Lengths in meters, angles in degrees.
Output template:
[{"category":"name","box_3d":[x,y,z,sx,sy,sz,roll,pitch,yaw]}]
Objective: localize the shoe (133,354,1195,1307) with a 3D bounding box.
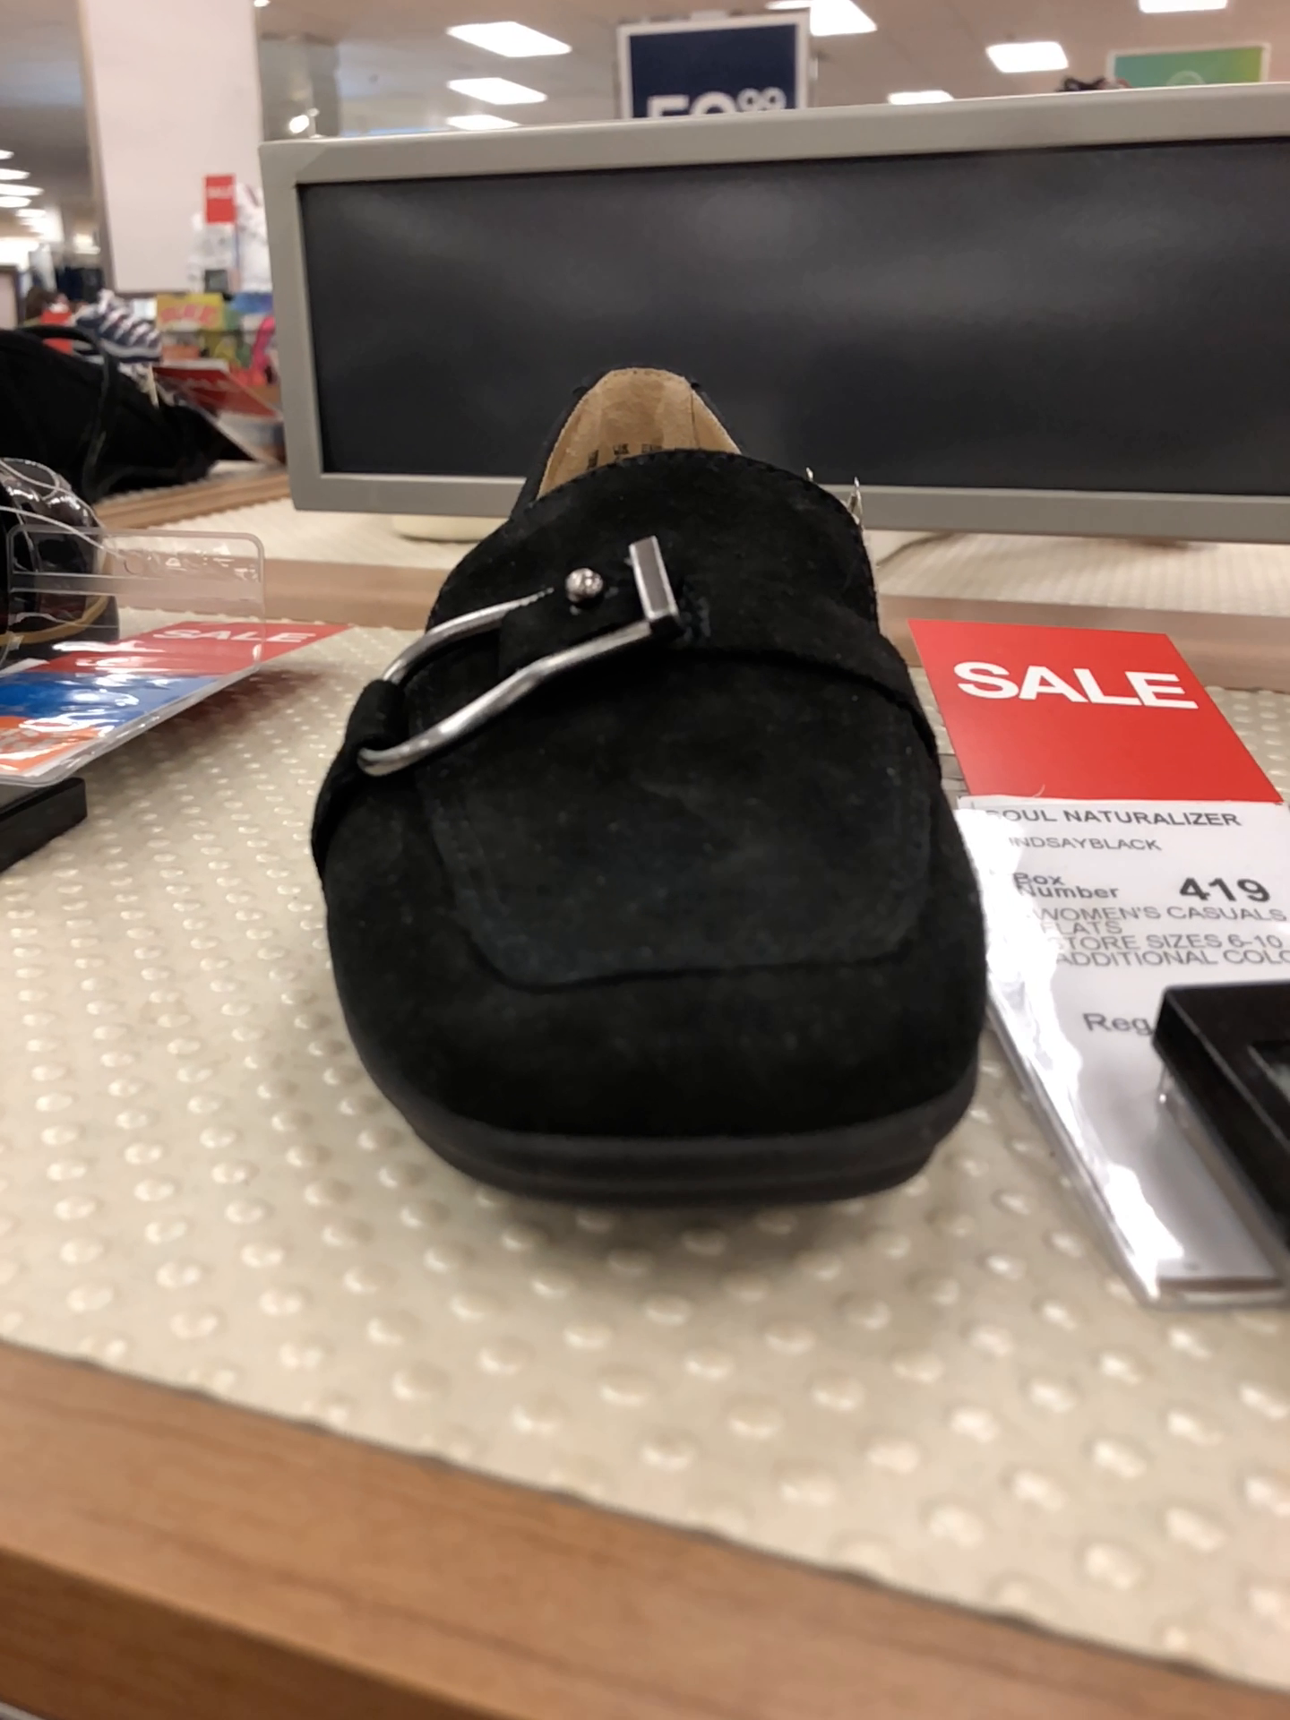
[{"category":"shoe","box_3d":[-0.002,-0.038,0.234,0.080,0.079,0.239,-1,20,-2]}]
